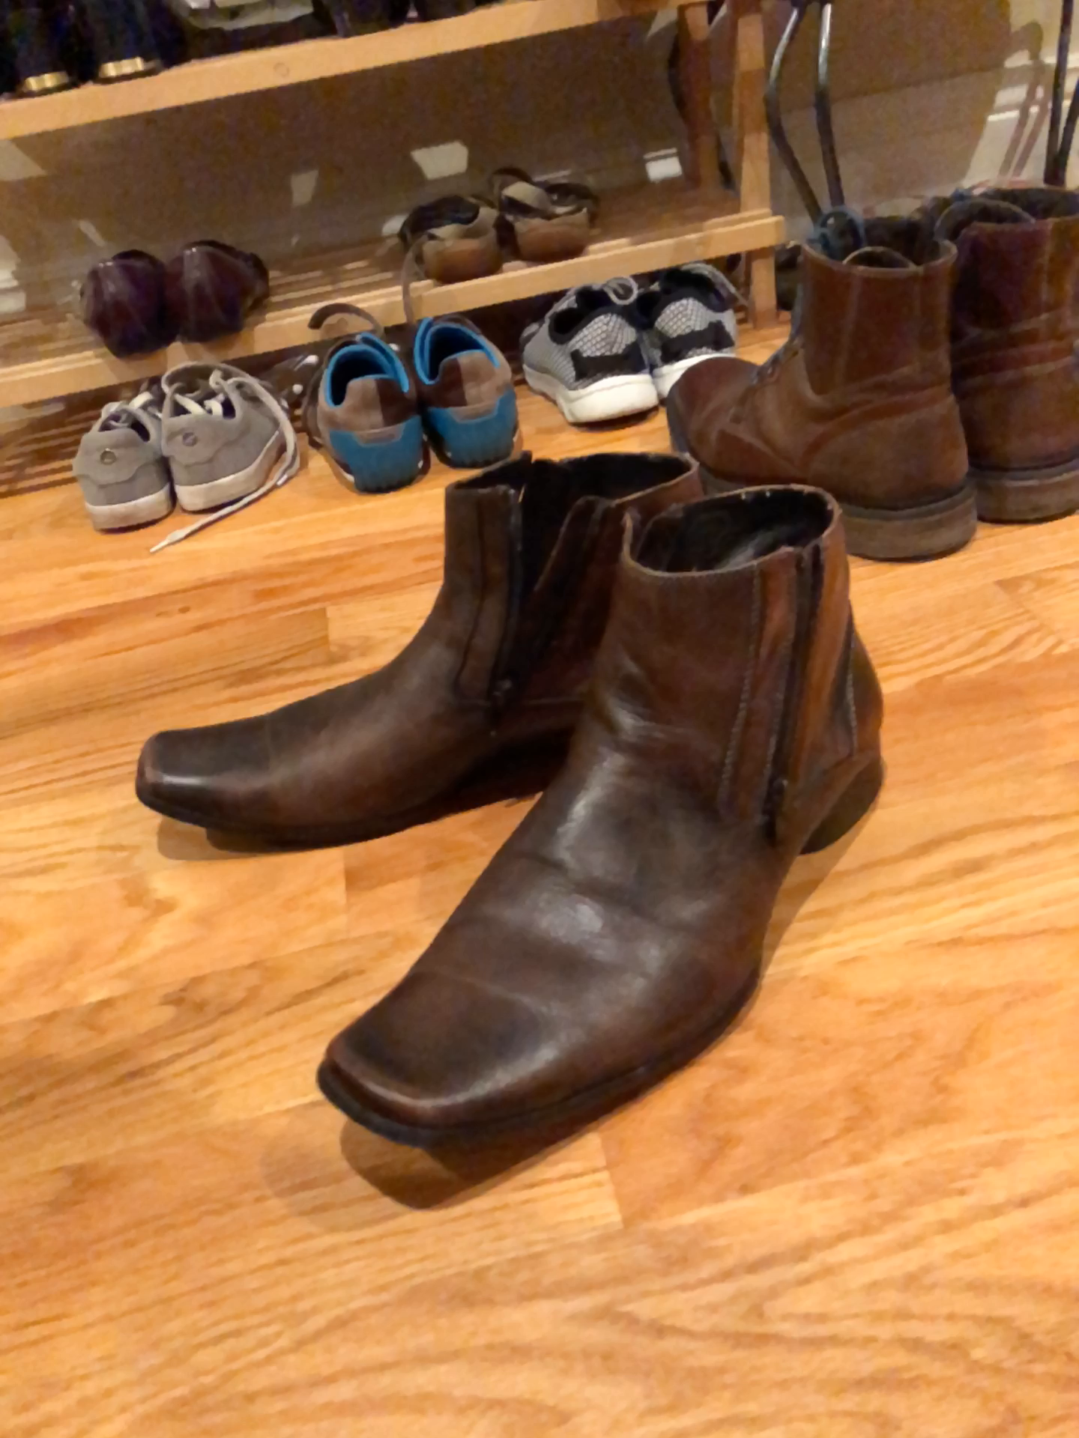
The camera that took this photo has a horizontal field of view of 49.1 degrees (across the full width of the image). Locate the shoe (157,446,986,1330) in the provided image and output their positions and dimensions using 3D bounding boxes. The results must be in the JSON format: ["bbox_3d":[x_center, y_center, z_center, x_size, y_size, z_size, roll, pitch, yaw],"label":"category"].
[{"bbox_3d":[0.040,0.033,0.436,0.109,0.152,0.301,20,44,39],"label":"shoe"}]

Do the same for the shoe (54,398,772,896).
[{"bbox_3d":[-0.051,-0.038,0.565,0.290,0.142,0.110,-13,32,-3],"label":"shoe"}]
